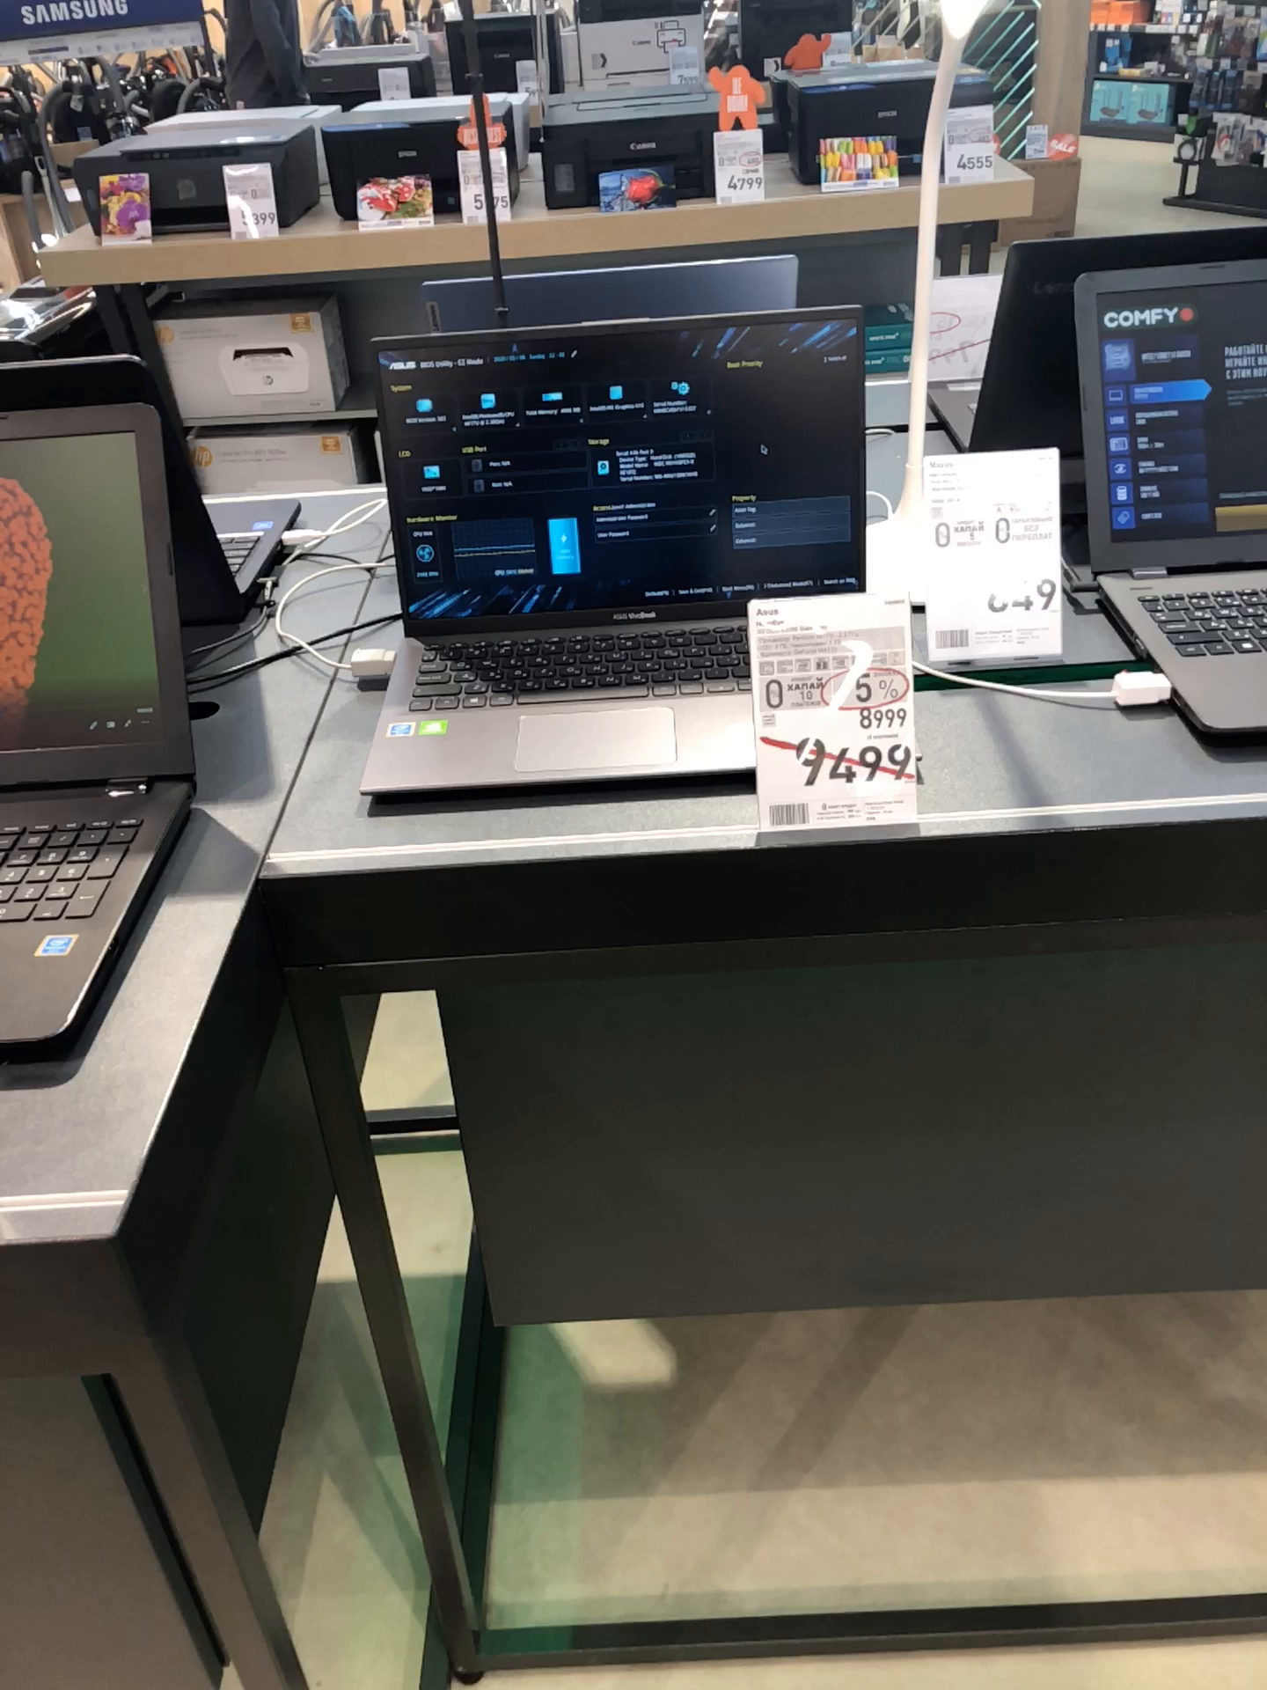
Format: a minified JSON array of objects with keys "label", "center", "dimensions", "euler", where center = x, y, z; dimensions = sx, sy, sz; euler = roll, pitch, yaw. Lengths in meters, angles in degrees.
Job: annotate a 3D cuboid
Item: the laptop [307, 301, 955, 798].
[{"label":"laptop","center":[0.001,-0.206,0.929],"dimensions":[0.355,0.200,0.288],"euler":[-4,34,4]}]
